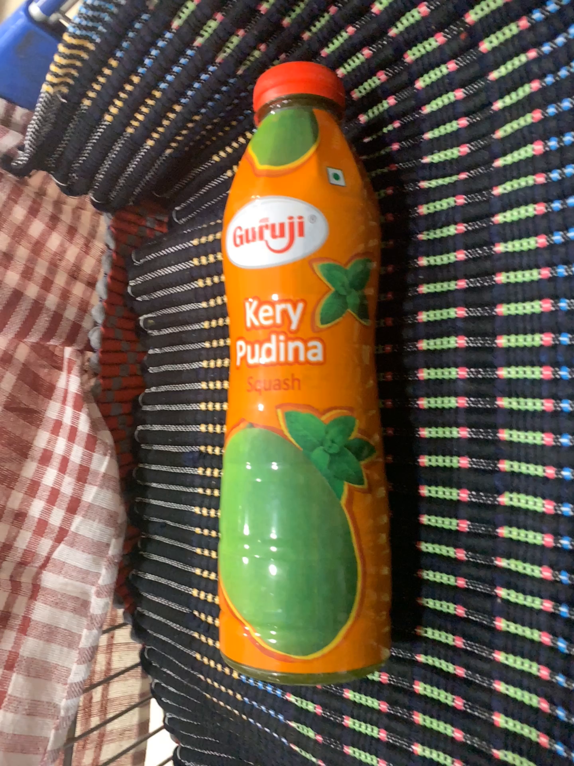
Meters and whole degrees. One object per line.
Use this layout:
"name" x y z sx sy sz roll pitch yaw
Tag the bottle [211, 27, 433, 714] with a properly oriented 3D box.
"bottle" 0.012 -0.007 0.233 0.070 0.070 0.230 1 84 -1
